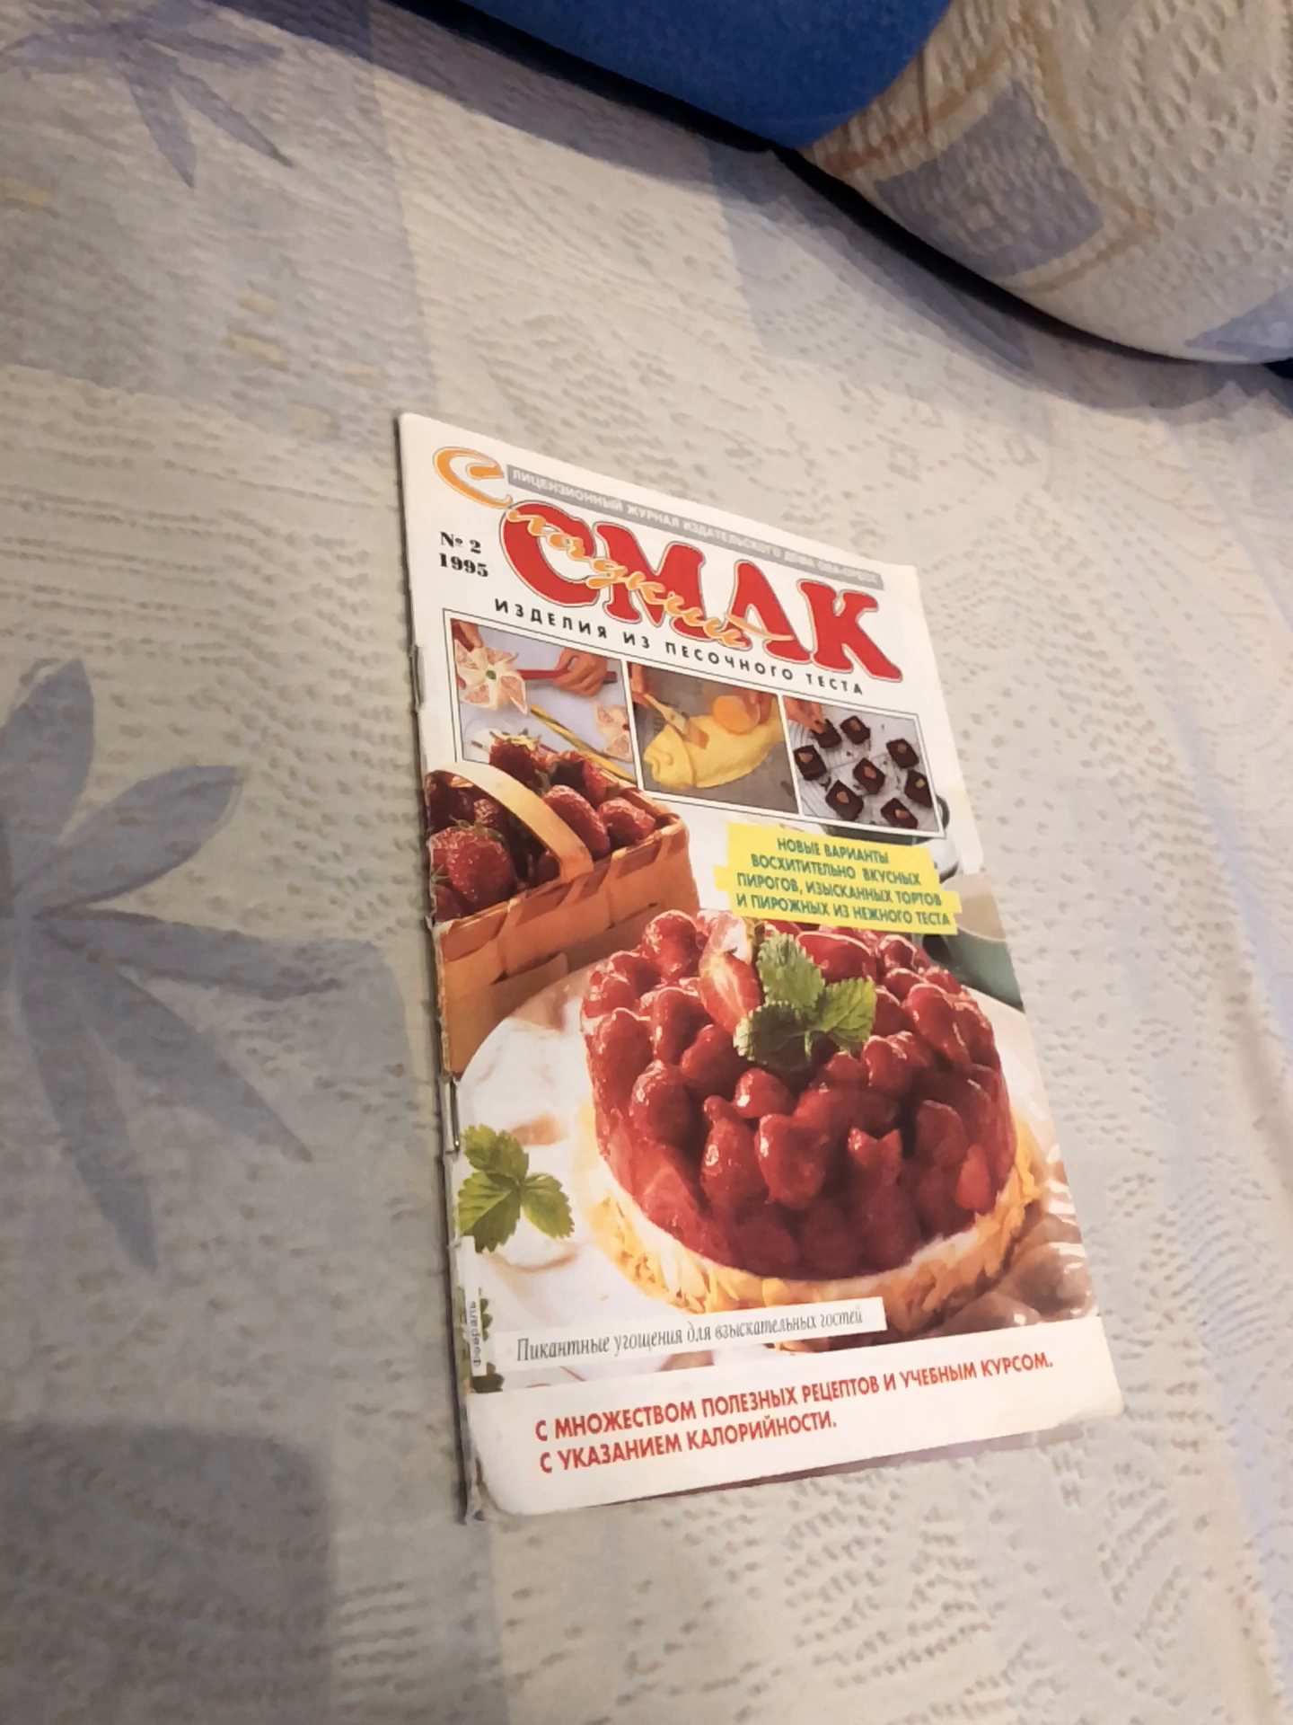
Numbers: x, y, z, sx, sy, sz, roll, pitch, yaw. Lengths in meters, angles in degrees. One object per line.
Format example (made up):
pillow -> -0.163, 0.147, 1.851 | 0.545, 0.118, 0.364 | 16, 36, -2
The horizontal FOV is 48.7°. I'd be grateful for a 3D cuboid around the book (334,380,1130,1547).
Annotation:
book -> 0.020, 0.015, 0.336 | 0.178, 0.020, 0.241 | 7, 65, -33
